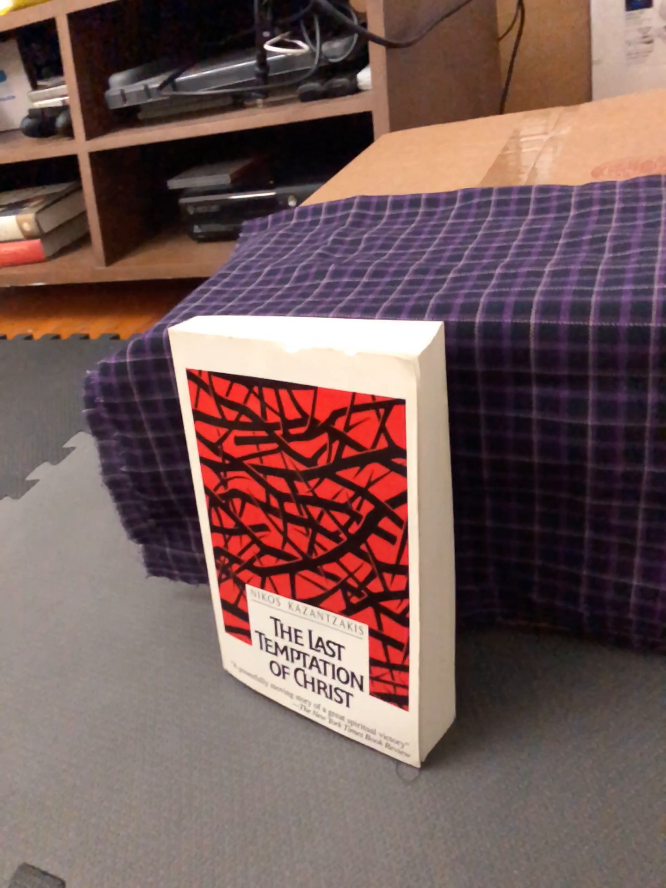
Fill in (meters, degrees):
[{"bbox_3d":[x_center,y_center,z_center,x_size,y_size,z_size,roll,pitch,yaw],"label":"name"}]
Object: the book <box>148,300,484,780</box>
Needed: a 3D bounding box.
[{"bbox_3d":[-0.008,0.039,0.372,0.150,0.209,0.050,12,28,42],"label":"book"}]
